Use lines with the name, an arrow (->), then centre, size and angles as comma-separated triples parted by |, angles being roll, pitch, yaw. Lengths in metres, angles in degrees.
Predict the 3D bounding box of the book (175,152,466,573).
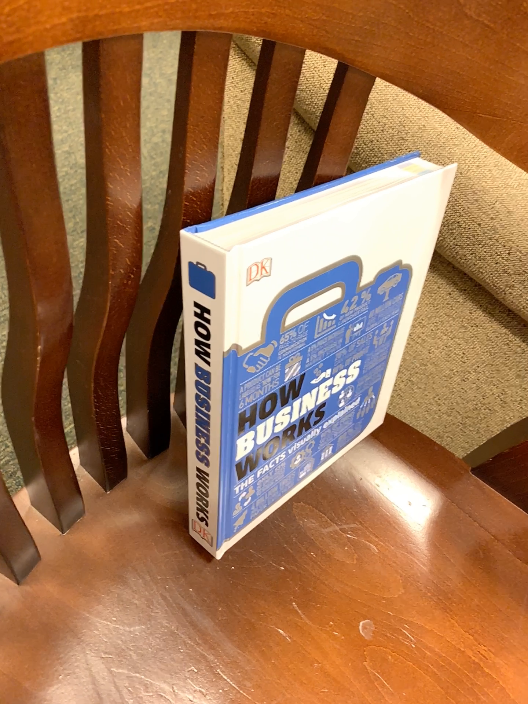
book -> 0.034, 0.008, 0.380 | 0.039, 0.246, 0.212 | 34, 45, 30
